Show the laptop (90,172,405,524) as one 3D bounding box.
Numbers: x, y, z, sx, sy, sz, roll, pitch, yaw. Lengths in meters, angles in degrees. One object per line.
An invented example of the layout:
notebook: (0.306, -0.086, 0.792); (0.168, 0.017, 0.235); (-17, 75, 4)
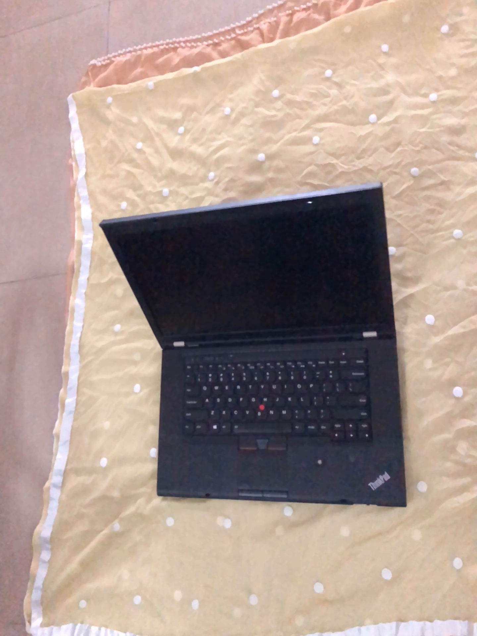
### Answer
laptop: (0.019, 0.054, 0.708); (0.364, 0.191, 0.380); (-4, 79, 17)
